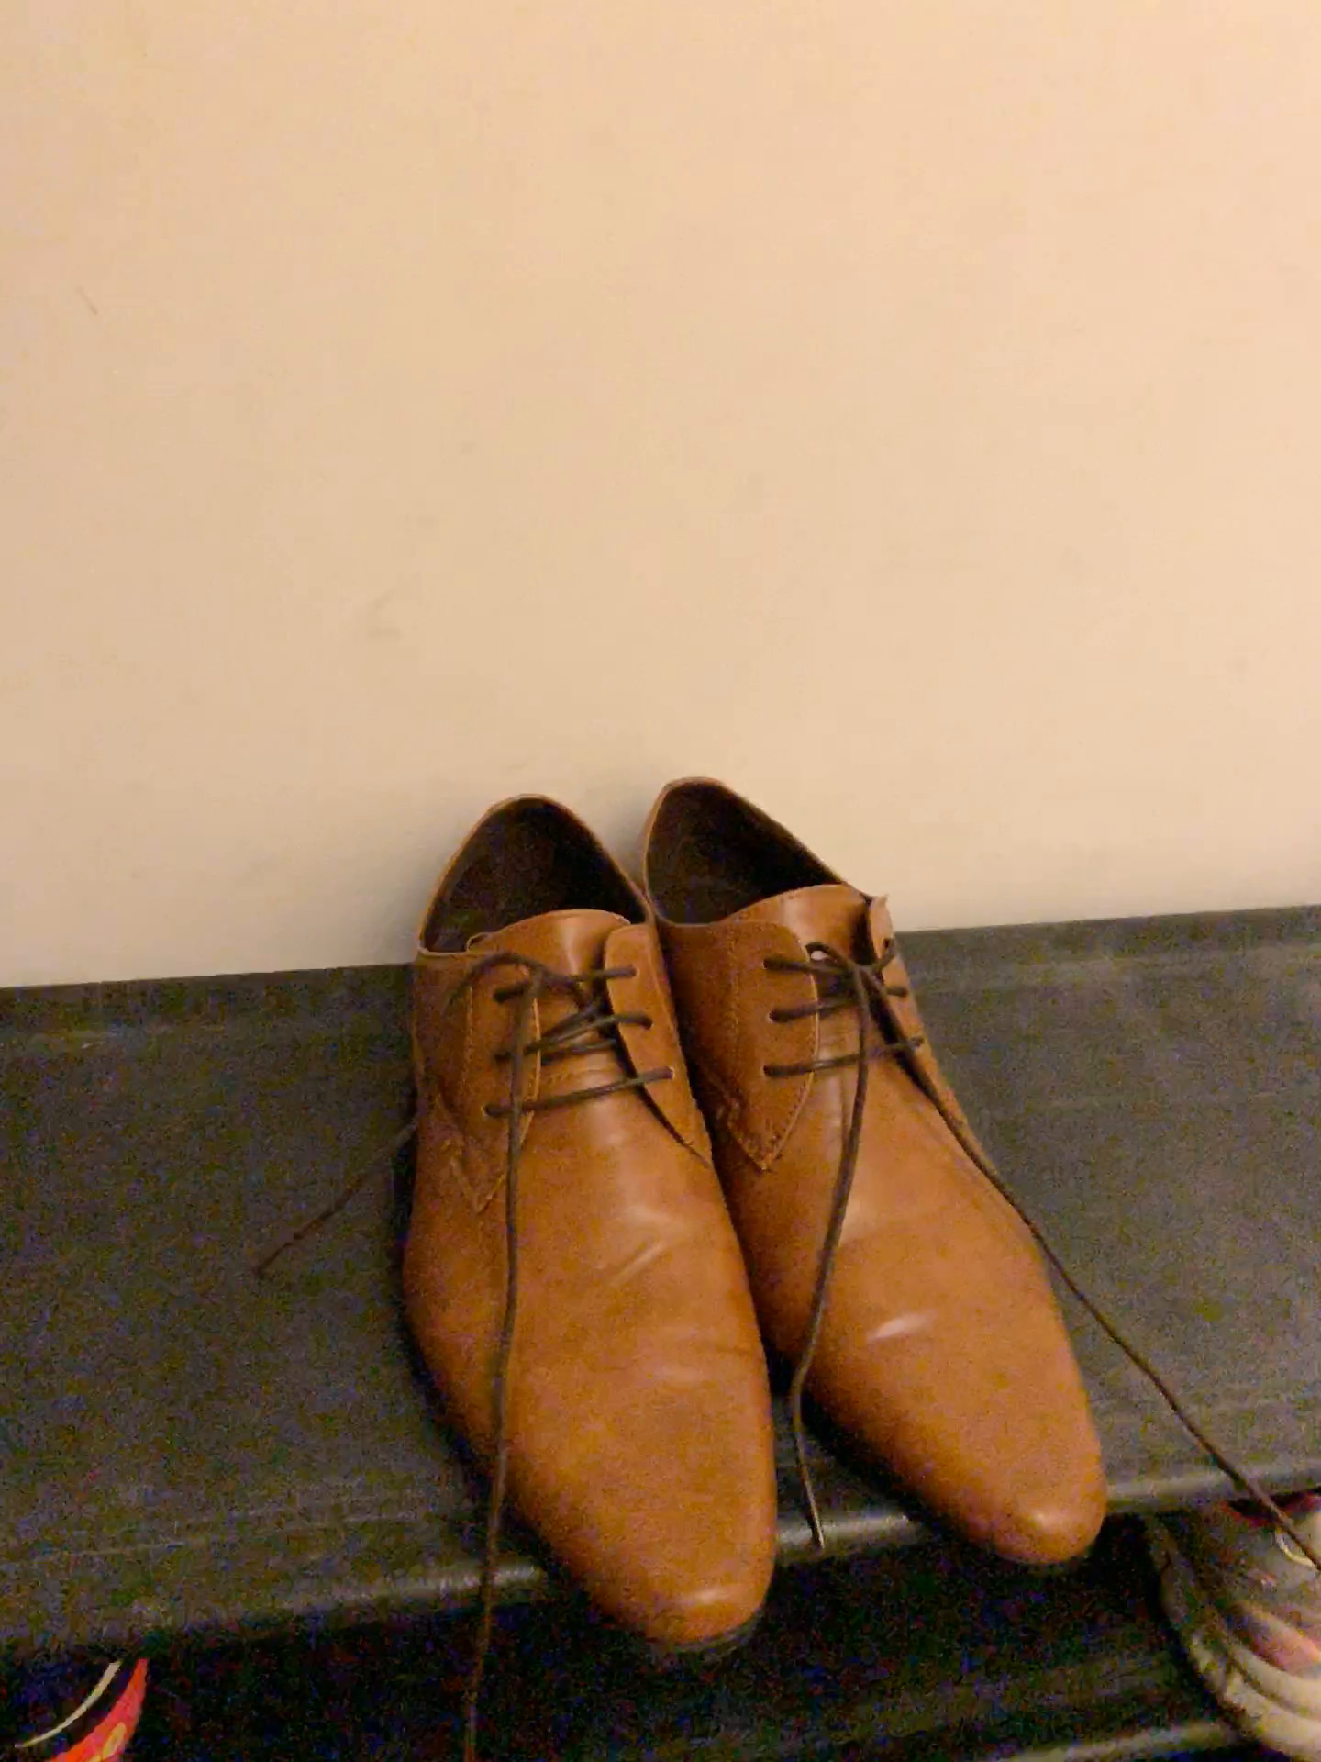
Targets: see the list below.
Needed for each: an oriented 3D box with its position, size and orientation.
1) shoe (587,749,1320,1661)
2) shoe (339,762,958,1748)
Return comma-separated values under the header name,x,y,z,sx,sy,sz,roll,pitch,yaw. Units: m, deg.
name,x,y,z,sx,sy,sz,roll,pitch,yaw
shoe,0.065,0.071,0.444,0.100,0.099,0.292,-7,34,-17
shoe,-0.028,0.075,0.401,0.110,0.099,0.272,-5,33,-14
